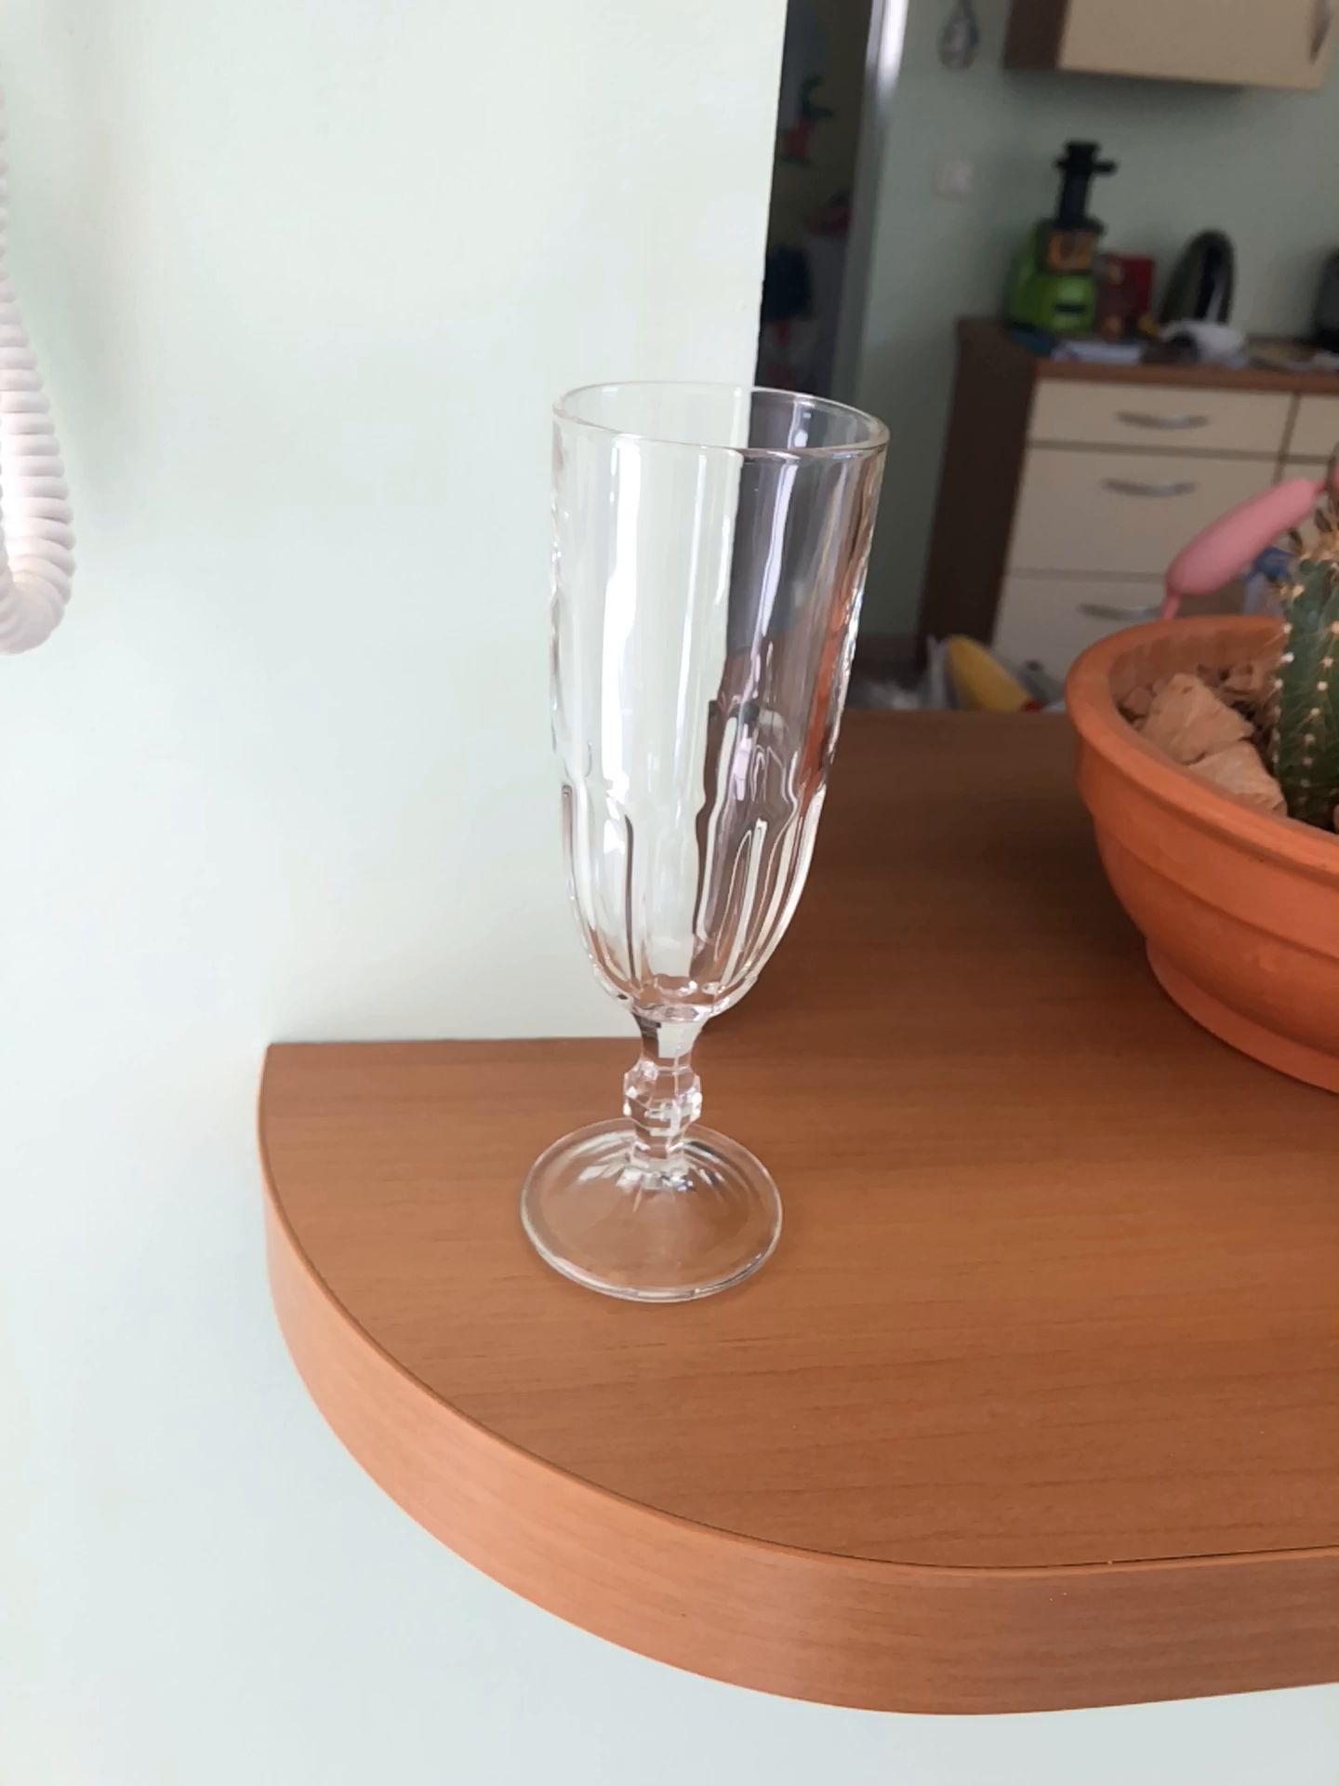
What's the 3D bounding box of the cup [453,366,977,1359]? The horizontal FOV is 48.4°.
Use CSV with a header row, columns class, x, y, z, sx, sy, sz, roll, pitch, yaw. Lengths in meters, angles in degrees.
class,x,y,z,sx,sy,sz,roll,pitch,yaw
cup,0.004,-0.005,0.287,0.070,0.169,0.060,14,29,18
